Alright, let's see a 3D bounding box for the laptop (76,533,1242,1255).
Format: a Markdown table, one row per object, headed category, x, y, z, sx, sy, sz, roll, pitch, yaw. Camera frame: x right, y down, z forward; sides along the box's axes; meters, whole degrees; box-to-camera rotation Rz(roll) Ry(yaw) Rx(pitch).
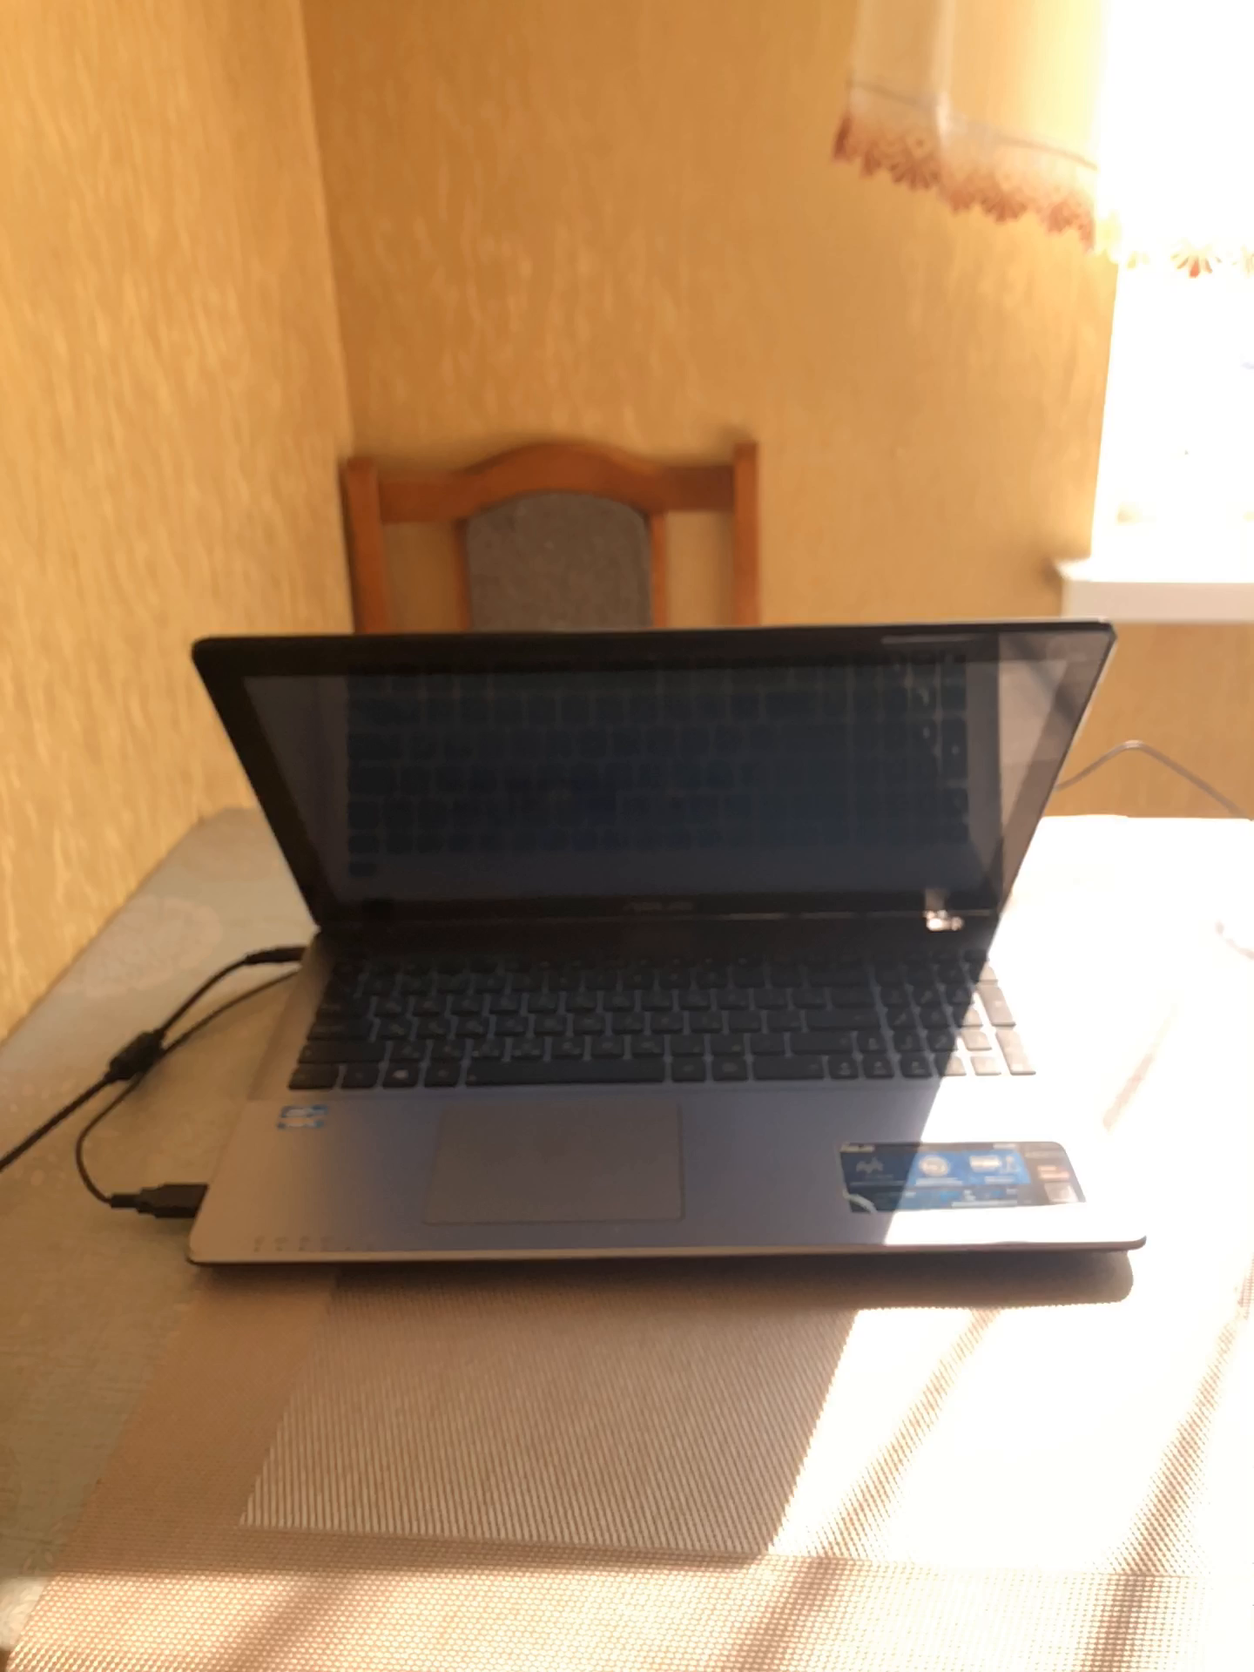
| category | x | y | z | sx | sy | sz | roll | pitch | yaw |
| --- | --- | --- | --- | --- | --- | --- | --- | --- | --- |
| laptop | 0.012 | 0.008 | 0.585 | 0.362 | 0.200 | 0.245 | -2 | 25 | 1 |
